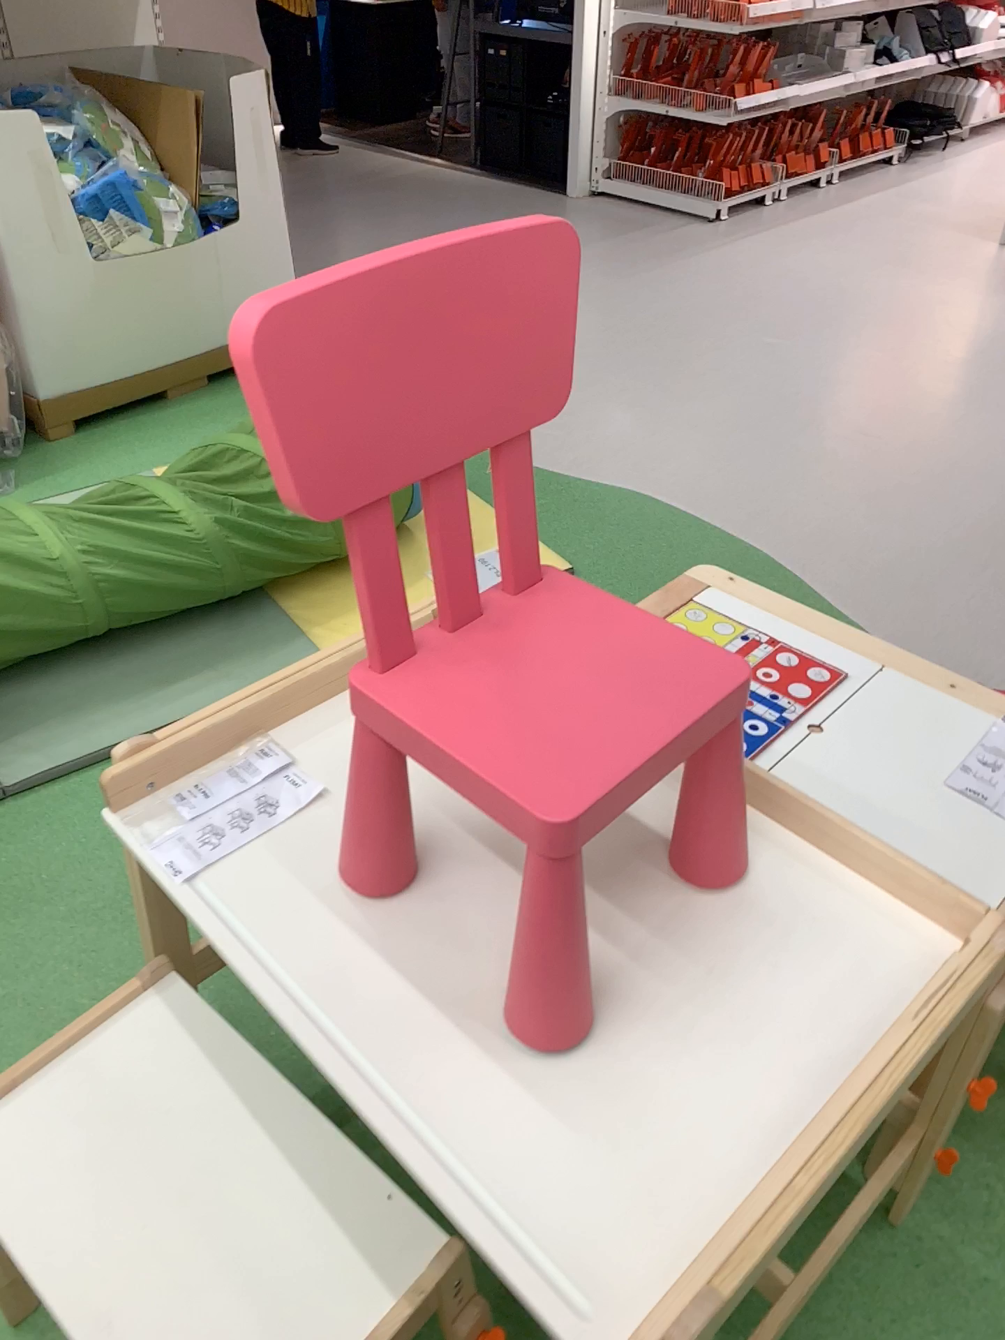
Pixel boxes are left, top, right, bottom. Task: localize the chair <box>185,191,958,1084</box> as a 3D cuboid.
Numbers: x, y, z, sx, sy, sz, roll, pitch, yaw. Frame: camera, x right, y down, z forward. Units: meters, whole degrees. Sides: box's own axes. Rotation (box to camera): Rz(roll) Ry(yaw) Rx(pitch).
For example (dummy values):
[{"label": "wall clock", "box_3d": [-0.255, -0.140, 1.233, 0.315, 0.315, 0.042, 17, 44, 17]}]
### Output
[{"label": "chair", "box_3d": [0.052, -0.051, 0.947, 0.401, 0.597, 0.421, 32, 47, 34]}]
